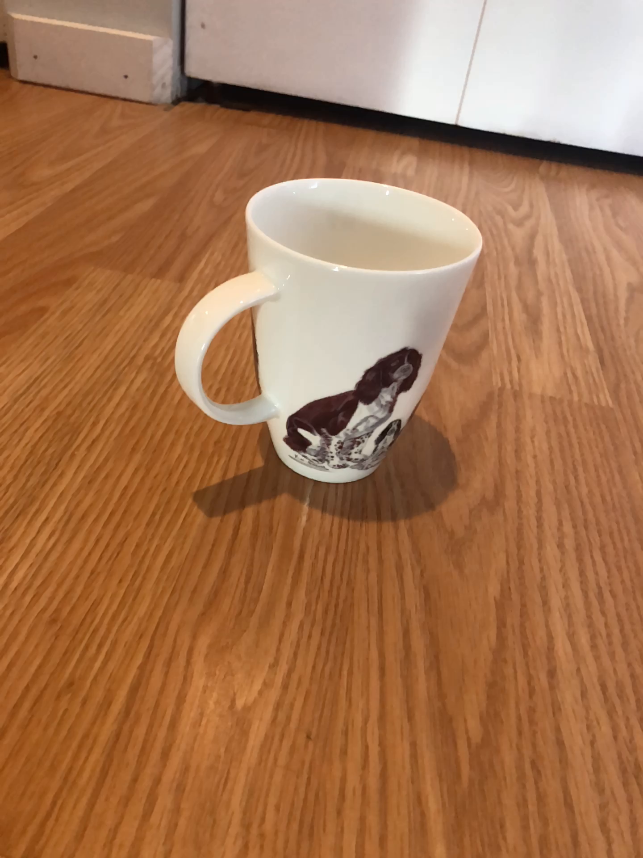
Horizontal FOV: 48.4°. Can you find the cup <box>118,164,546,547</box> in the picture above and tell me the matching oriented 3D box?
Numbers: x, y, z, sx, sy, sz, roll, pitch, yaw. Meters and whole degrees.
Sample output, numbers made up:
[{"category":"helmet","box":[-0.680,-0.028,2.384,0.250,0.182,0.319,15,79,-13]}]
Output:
[{"category":"cup","box":[-0.001,-0.037,0.274,0.120,0.090,0.090,-19,45,-33]}]
